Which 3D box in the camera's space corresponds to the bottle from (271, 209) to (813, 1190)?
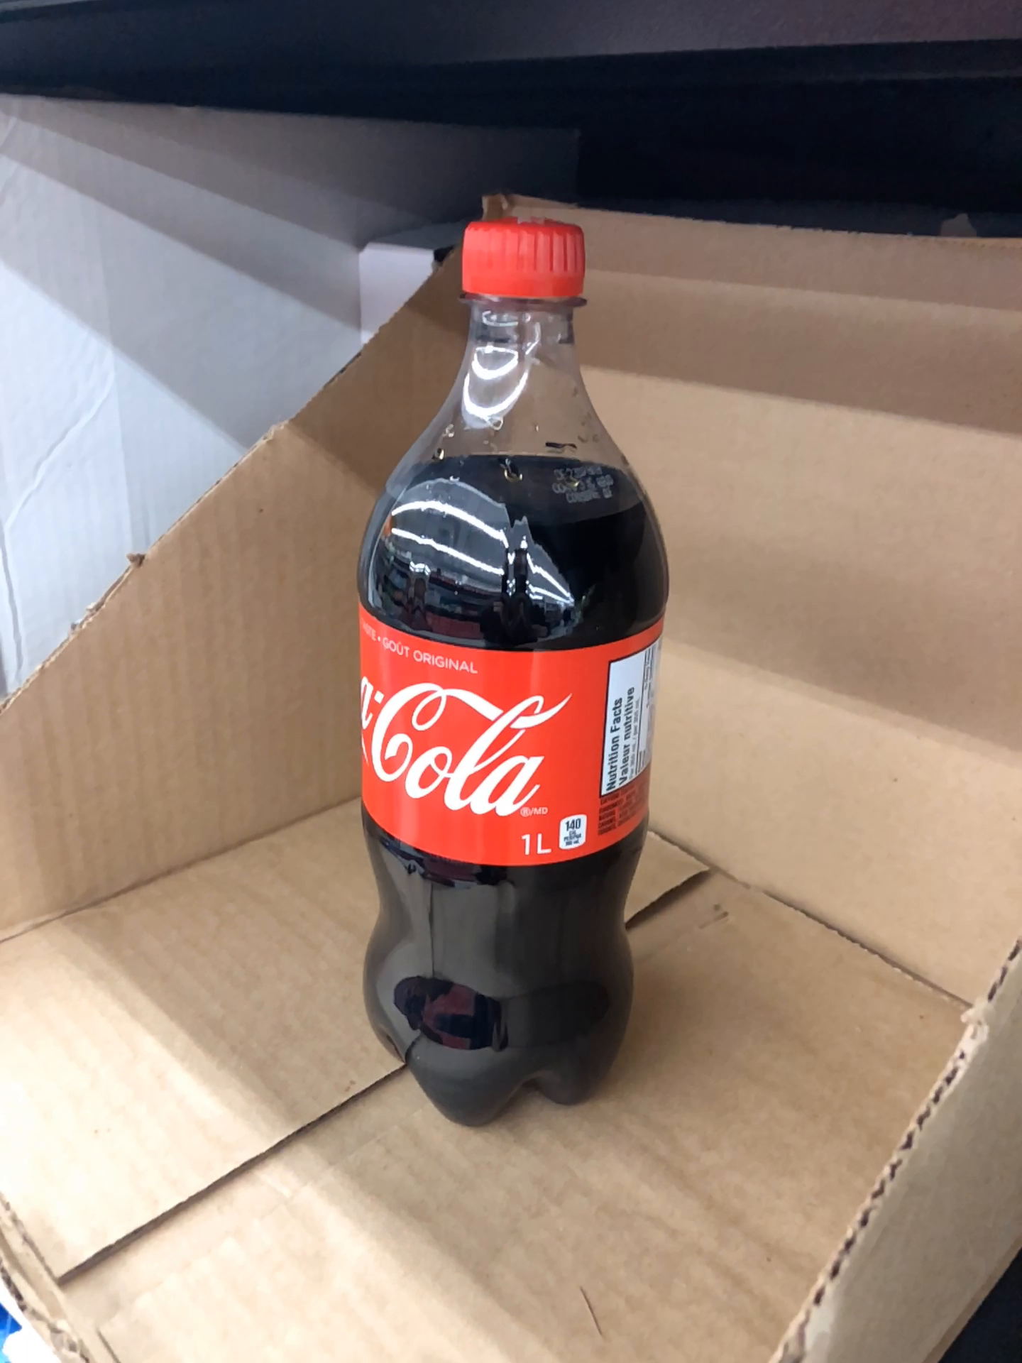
[{"bbox_3d":[0.002,0.002,0.327,0.090,0.248,0.100,-15,30,-31],"label":"bottle"}]
